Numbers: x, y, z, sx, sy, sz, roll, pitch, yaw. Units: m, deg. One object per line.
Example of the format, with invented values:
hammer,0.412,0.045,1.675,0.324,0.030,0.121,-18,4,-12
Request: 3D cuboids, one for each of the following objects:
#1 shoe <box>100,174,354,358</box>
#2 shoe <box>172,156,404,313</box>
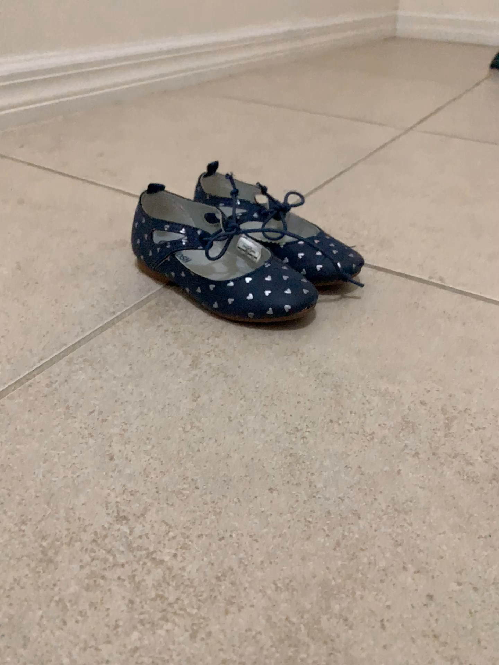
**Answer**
shoe,-0.021,-0.057,0.375,0.171,0.061,0.071,25,41,29
shoe,0.025,-0.087,0.420,0.171,0.061,0.071,25,41,29
